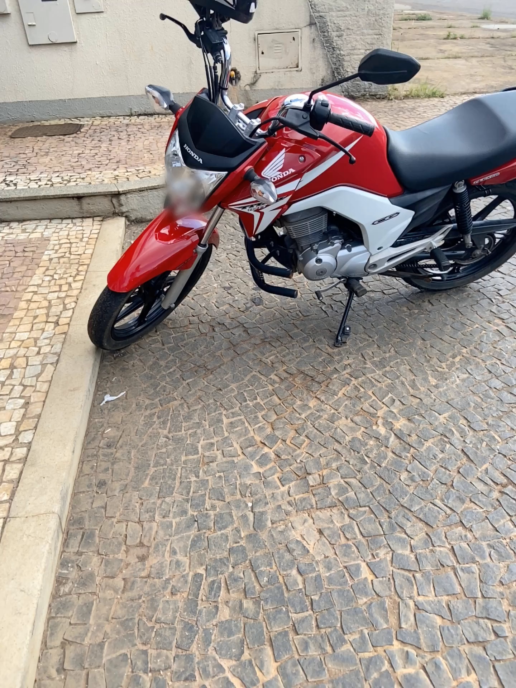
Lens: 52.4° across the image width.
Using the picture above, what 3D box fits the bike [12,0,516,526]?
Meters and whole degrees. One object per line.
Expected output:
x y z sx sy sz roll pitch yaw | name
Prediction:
0.391 -0.460 1.999 2.072 1.382 0.813 -17 36 -19 | bike
